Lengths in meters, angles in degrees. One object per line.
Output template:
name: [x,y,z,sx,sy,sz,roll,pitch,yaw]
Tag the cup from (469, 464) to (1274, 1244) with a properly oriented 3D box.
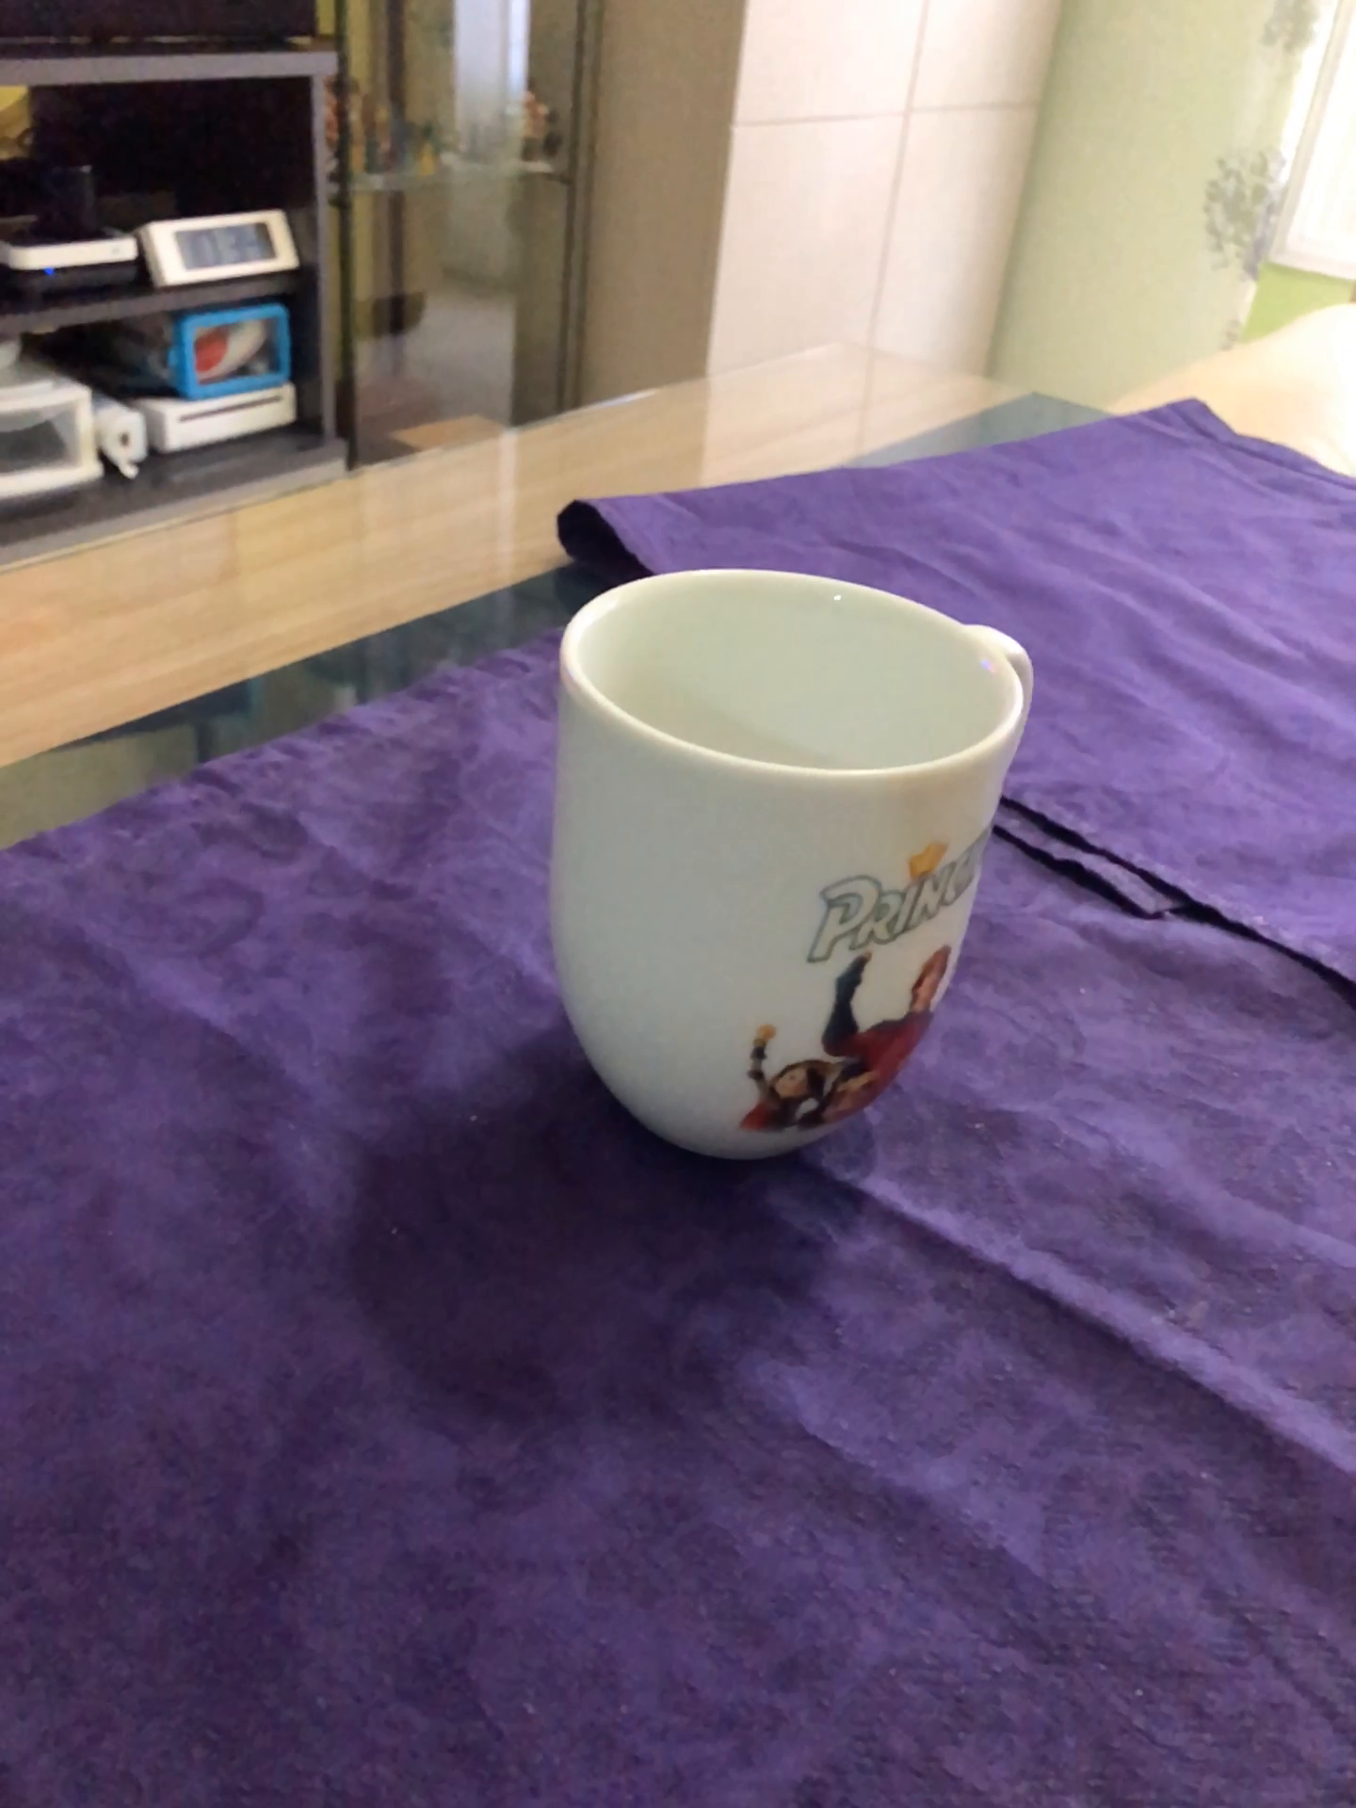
cup: [0.034,-0.018,0.288,0.120,0.090,0.080,-24,44,-37]
